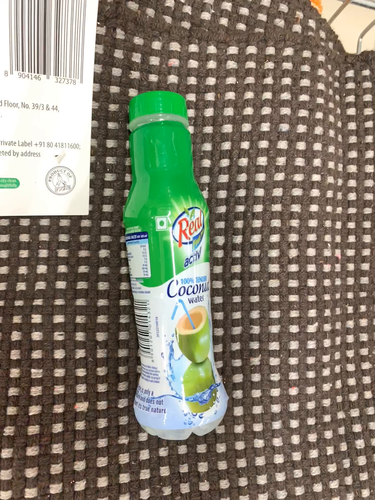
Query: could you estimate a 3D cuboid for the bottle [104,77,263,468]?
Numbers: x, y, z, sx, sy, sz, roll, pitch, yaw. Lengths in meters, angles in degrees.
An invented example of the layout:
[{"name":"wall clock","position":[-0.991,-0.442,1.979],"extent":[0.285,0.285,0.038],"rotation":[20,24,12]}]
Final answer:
[{"name":"bottle","position":[-0.001,0.010,0.198],"extent":[0.060,0.040,0.170],"rotation":[-6,98,-25]}]
